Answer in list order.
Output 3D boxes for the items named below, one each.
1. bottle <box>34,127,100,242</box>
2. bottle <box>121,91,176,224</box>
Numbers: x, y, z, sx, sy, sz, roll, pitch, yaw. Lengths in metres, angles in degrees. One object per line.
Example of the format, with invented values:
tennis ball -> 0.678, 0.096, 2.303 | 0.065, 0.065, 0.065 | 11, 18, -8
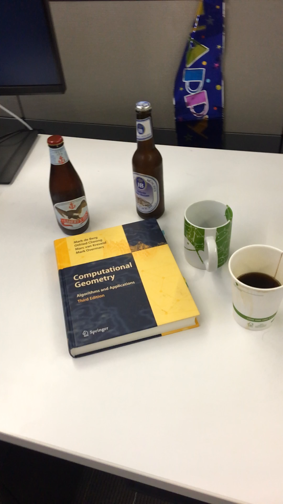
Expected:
bottle -> -0.128, -0.115, 0.740 | 0.070, 0.180, 0.070 | -3, 43, 3
bottle -> 0.018, -0.163, 0.755 | 0.060, 0.220, 0.070 | 19, 49, 24
